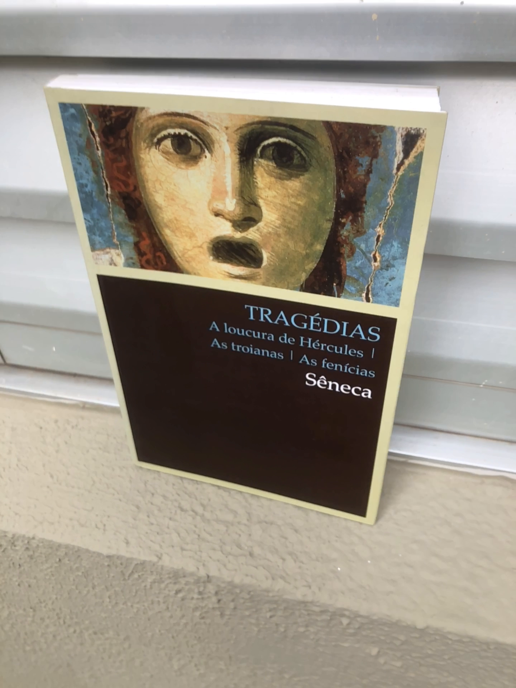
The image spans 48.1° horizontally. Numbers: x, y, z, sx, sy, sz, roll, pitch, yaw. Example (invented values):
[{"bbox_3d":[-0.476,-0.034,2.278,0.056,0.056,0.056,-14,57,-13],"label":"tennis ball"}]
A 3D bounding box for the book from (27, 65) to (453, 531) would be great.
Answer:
[{"bbox_3d":[-0.008,-0.009,0.253,0.144,0.196,0.026,11,39,17],"label":"book"}]
